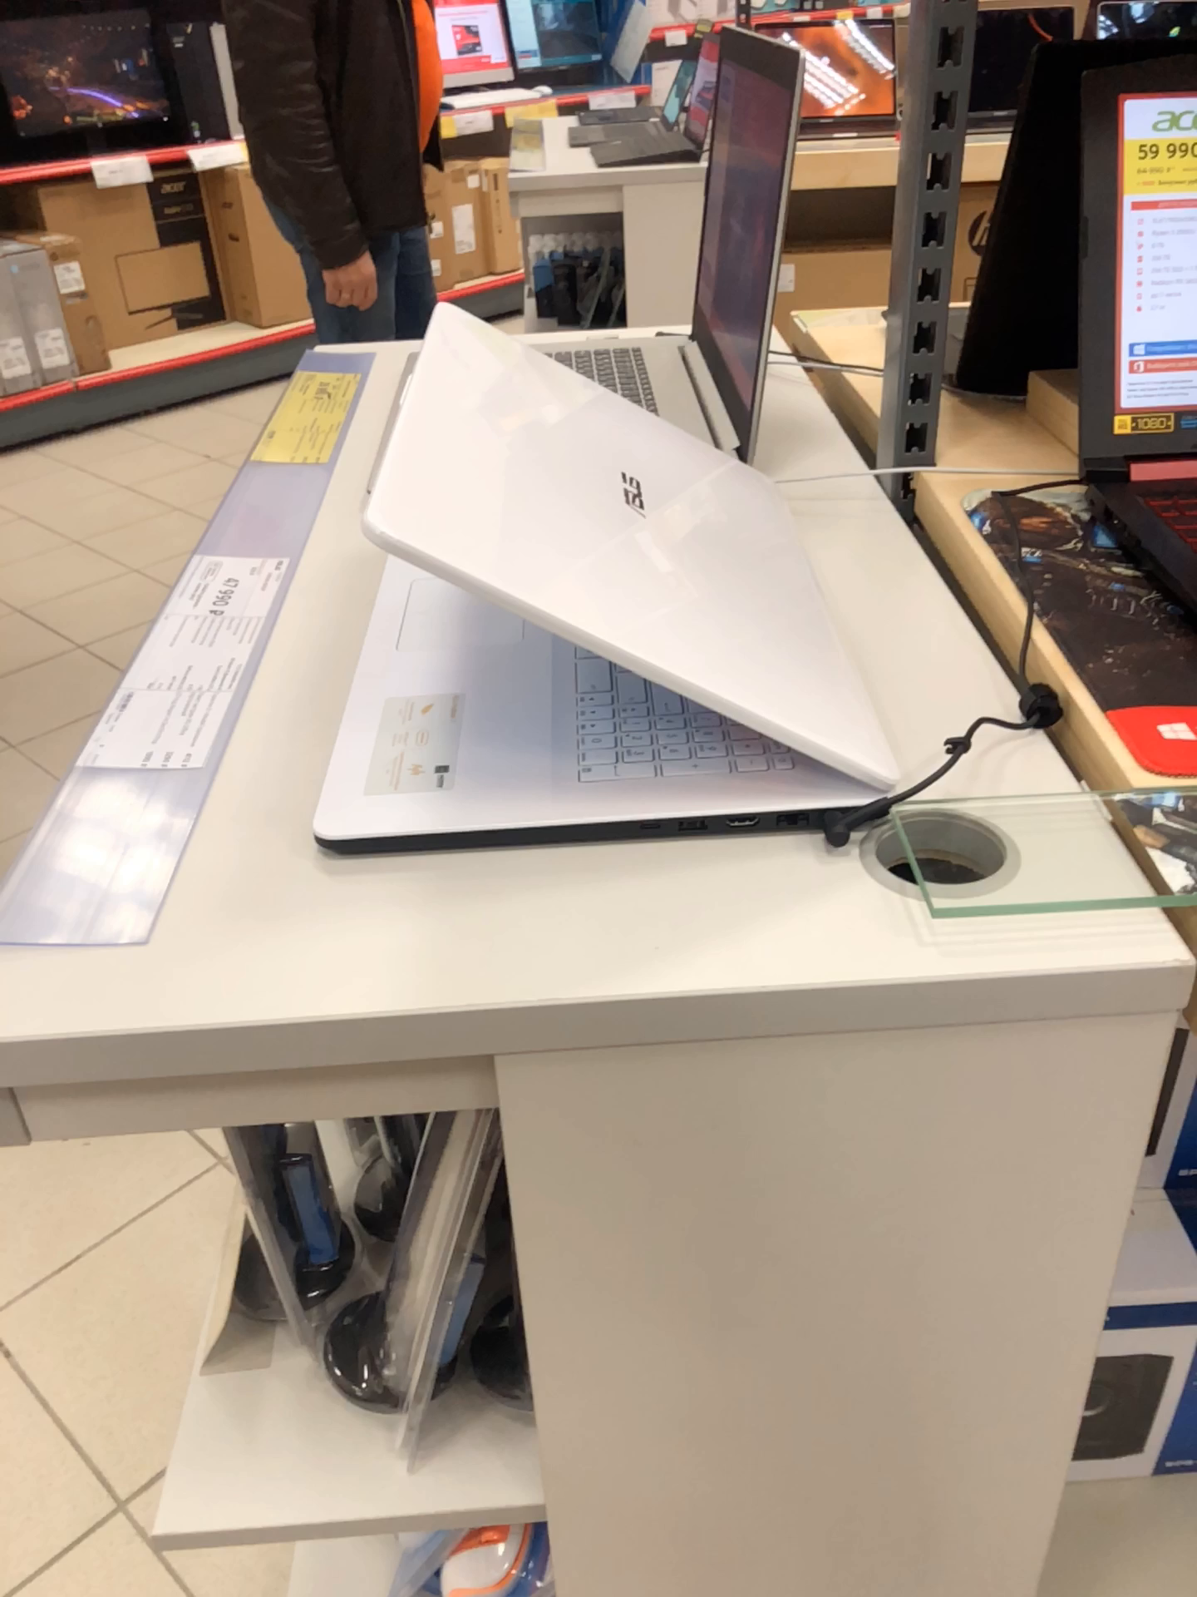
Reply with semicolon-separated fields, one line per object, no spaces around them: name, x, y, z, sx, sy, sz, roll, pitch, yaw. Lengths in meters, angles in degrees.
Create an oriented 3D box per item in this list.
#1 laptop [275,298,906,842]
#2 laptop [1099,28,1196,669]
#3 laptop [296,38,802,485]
laptop;-0.015;-0.154;0.733;0.256;0.142;0.393;-4;33;-2
laptop;0.516;-0.276;0.737;0.377;0.220;0.367;-3;31;6
laptop;-0.031;-0.470;1.101;0.336;0.262;0.394;-4;32;-3
